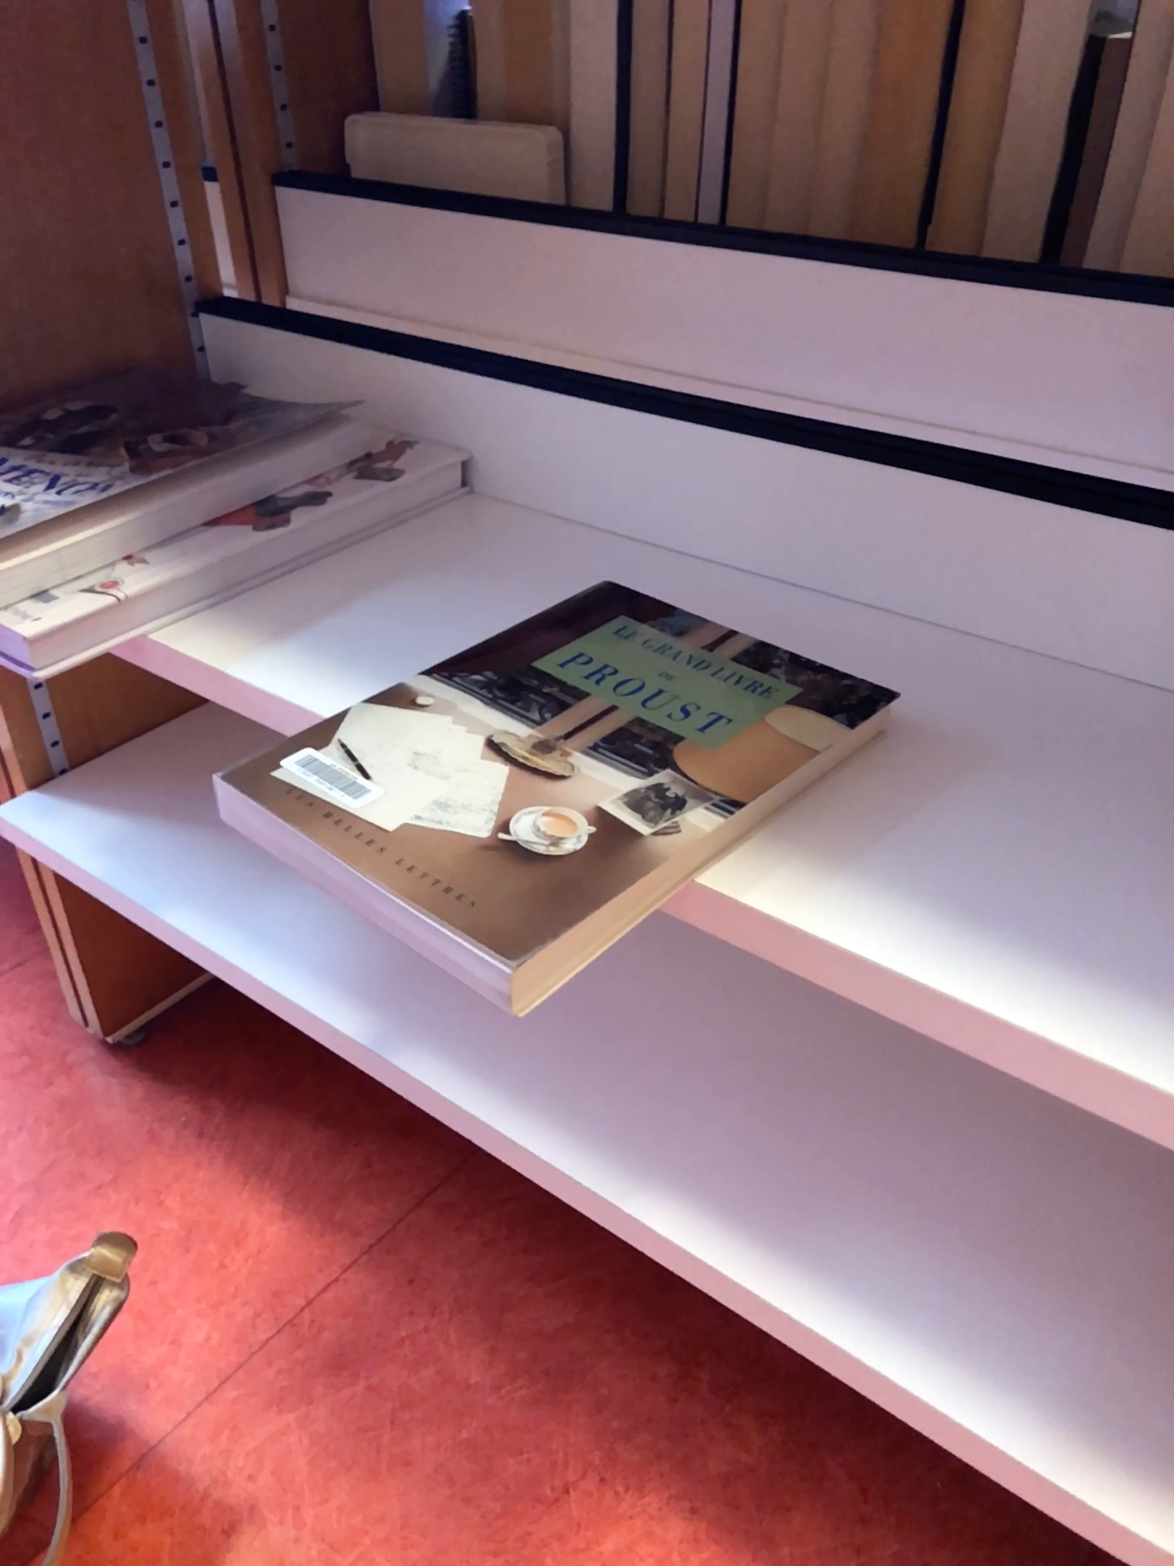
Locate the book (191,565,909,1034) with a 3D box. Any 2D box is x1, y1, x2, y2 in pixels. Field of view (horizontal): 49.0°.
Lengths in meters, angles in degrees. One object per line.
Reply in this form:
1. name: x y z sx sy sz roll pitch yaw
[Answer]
1. book: -0.010 -0.014 0.547 0.180 0.030 0.246 27 44 36
